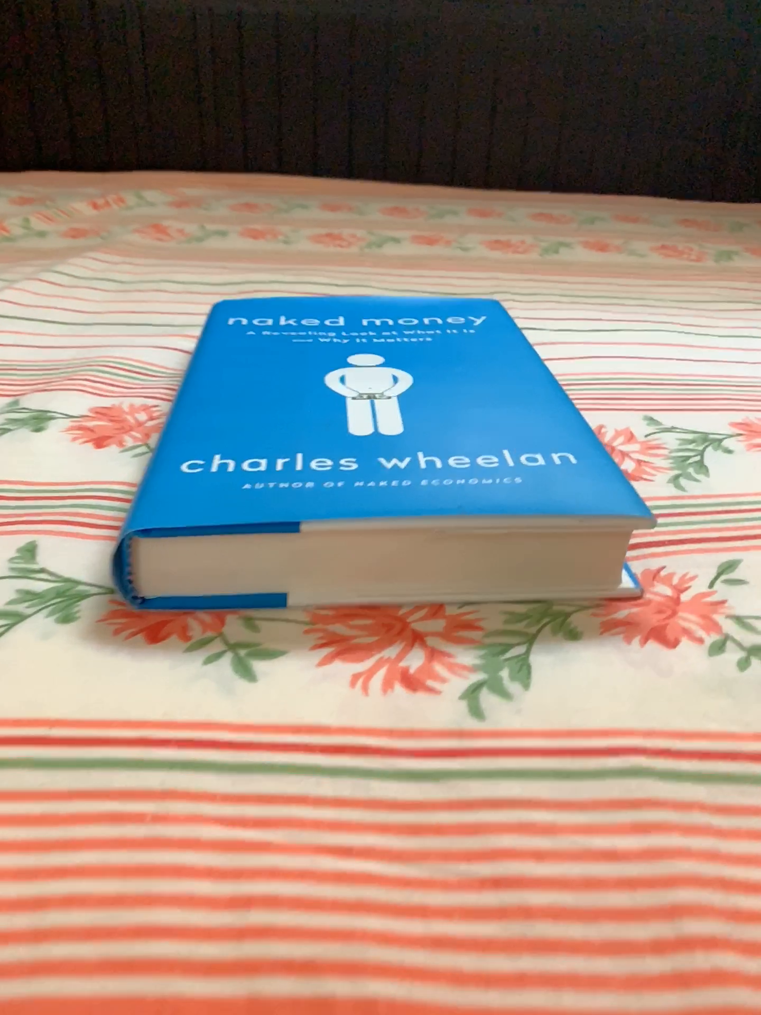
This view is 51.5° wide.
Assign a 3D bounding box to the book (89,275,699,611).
[{"bbox_3d":[-0.003,-0.049,0.338,0.170,0.040,0.252,0,29,-5],"label":"book"}]
